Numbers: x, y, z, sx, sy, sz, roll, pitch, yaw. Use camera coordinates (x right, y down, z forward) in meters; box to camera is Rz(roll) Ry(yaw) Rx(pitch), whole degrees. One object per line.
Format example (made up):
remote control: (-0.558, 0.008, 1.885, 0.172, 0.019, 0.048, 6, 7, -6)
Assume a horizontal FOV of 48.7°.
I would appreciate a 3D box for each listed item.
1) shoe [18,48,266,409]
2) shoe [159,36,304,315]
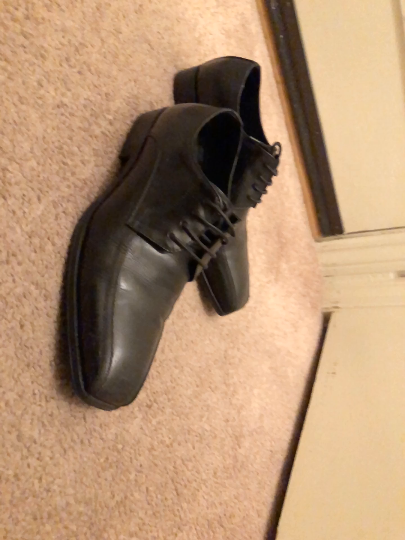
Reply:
shoe: (-0.030, -0.040, 0.391, 0.110, 0.107, 0.284, 47, 46, -48)
shoe: (0.041, -0.102, 0.557, 0.116, 0.110, 0.297, -11, 95, -61)
